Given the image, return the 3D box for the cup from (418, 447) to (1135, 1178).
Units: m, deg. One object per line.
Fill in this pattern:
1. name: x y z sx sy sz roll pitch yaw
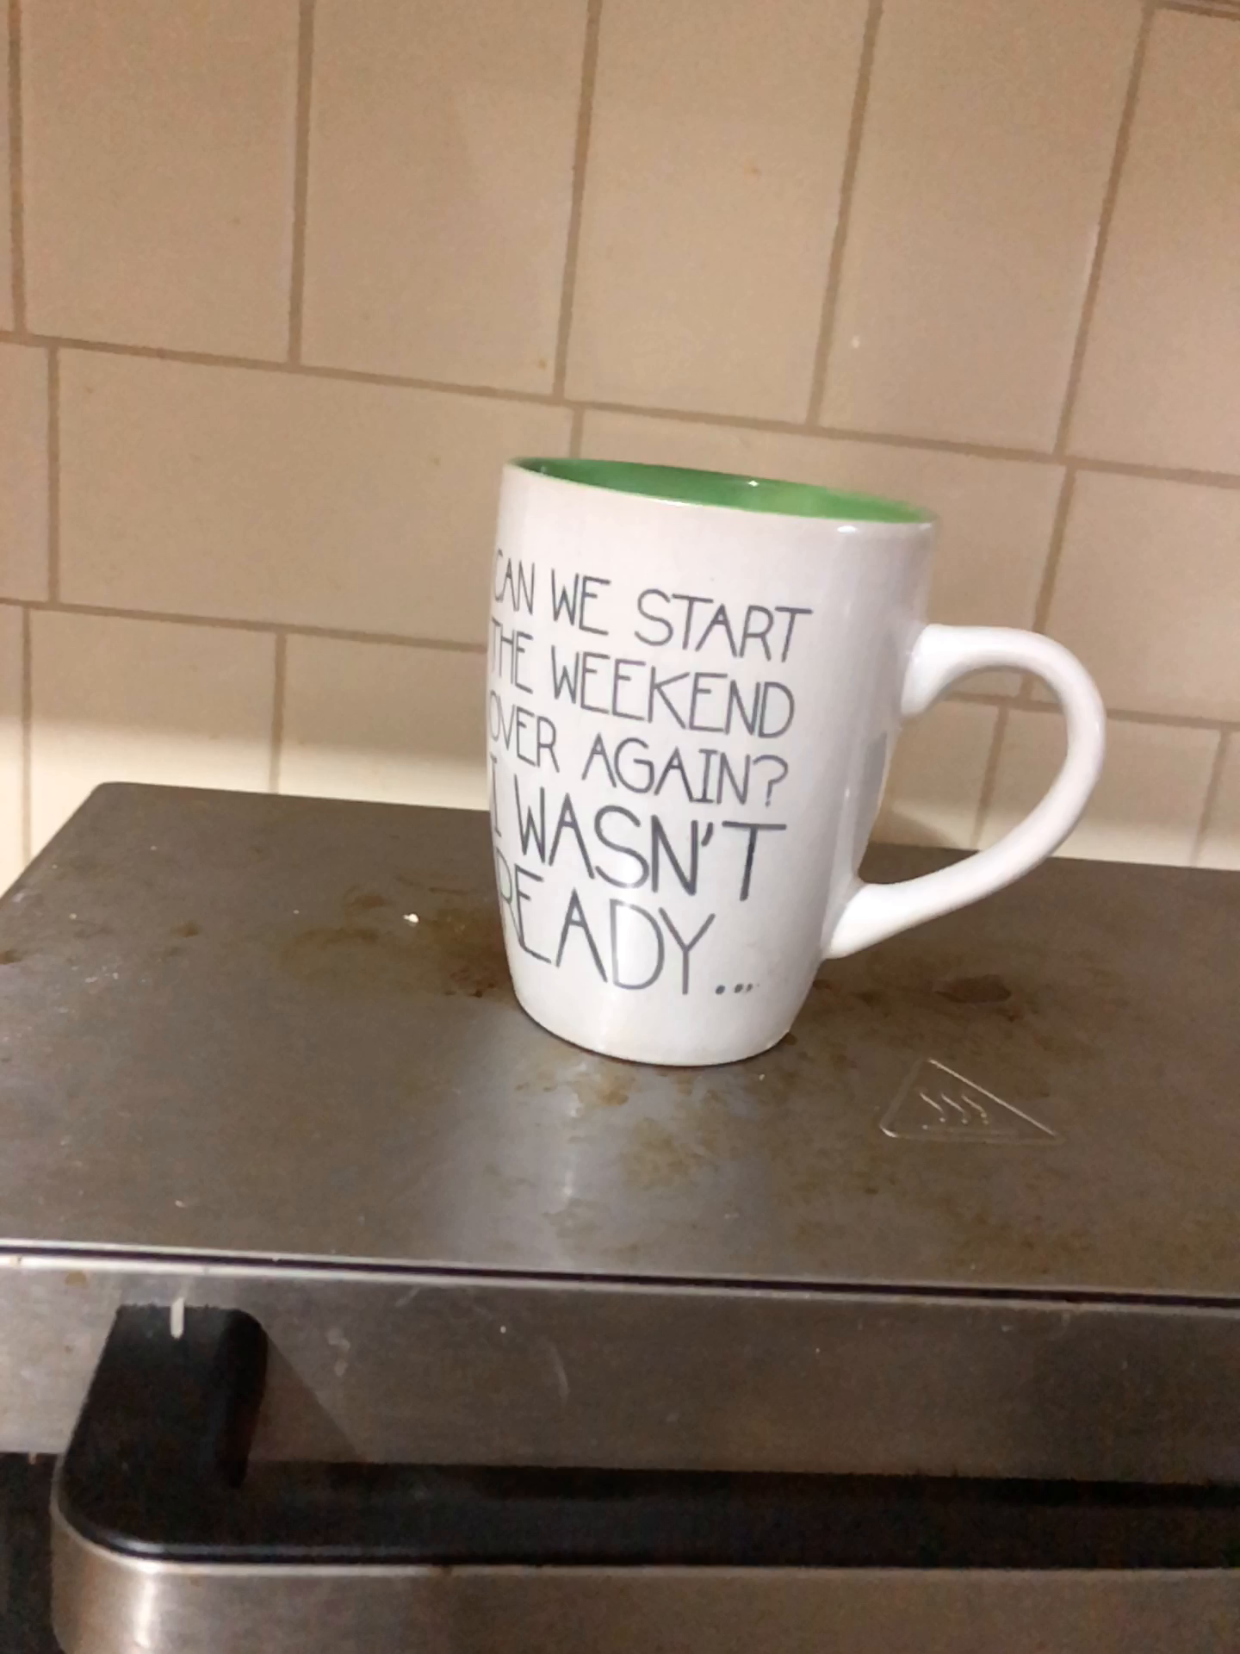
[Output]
1. cup: 0.030 -0.011 0.270 0.110 0.110 0.070 12 17 15
